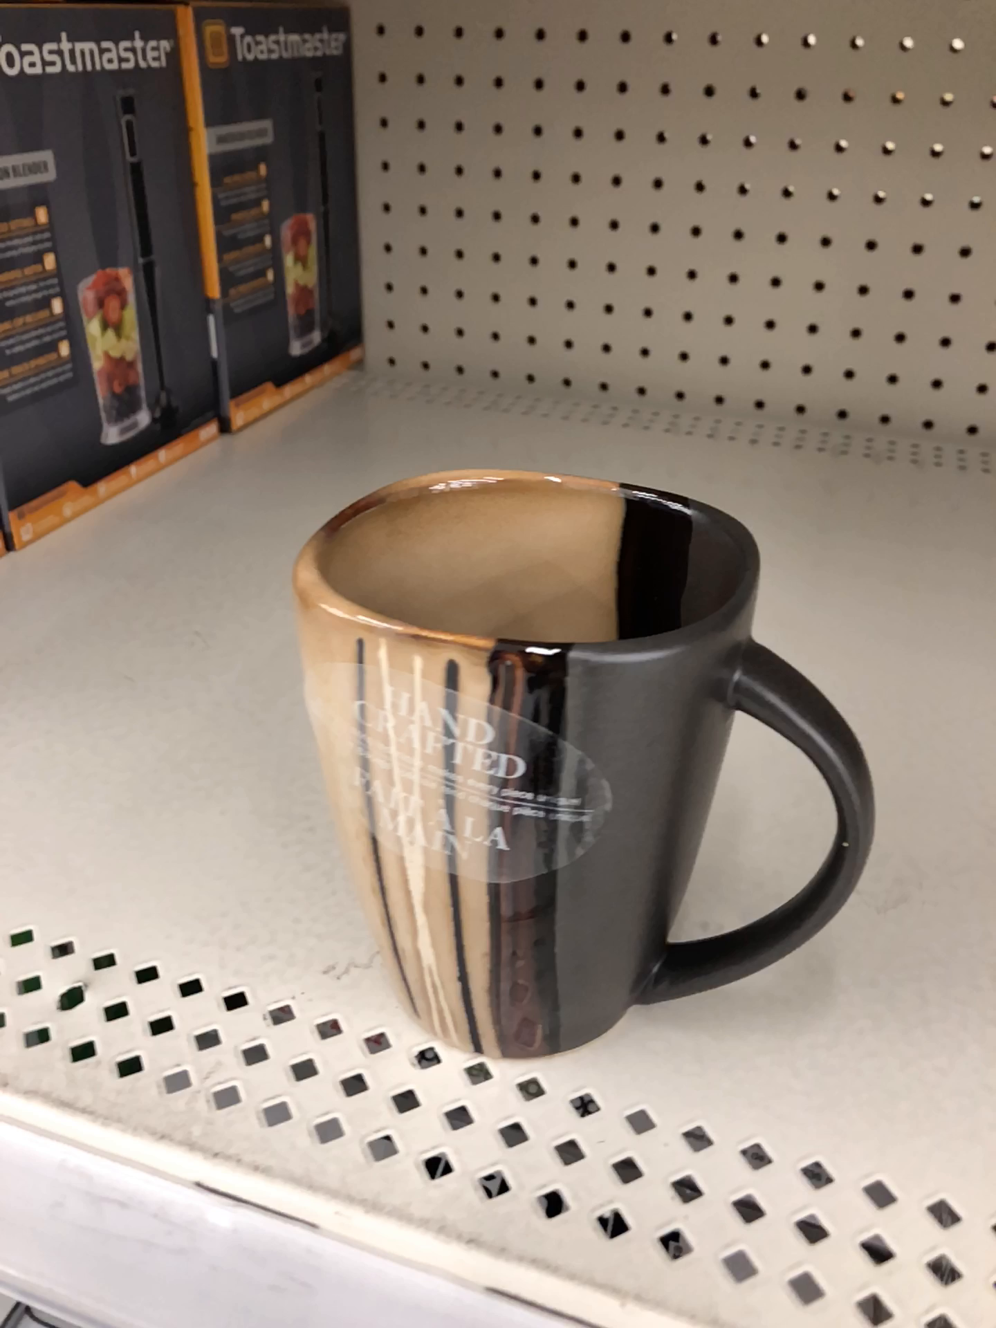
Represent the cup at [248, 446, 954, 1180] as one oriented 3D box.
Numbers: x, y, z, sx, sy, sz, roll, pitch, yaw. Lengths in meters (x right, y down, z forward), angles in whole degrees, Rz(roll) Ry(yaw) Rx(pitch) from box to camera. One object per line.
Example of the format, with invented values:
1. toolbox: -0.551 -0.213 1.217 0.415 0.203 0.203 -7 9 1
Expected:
1. cup: 0.025 0.025 0.247 0.120 0.110 0.087 10 31 15
